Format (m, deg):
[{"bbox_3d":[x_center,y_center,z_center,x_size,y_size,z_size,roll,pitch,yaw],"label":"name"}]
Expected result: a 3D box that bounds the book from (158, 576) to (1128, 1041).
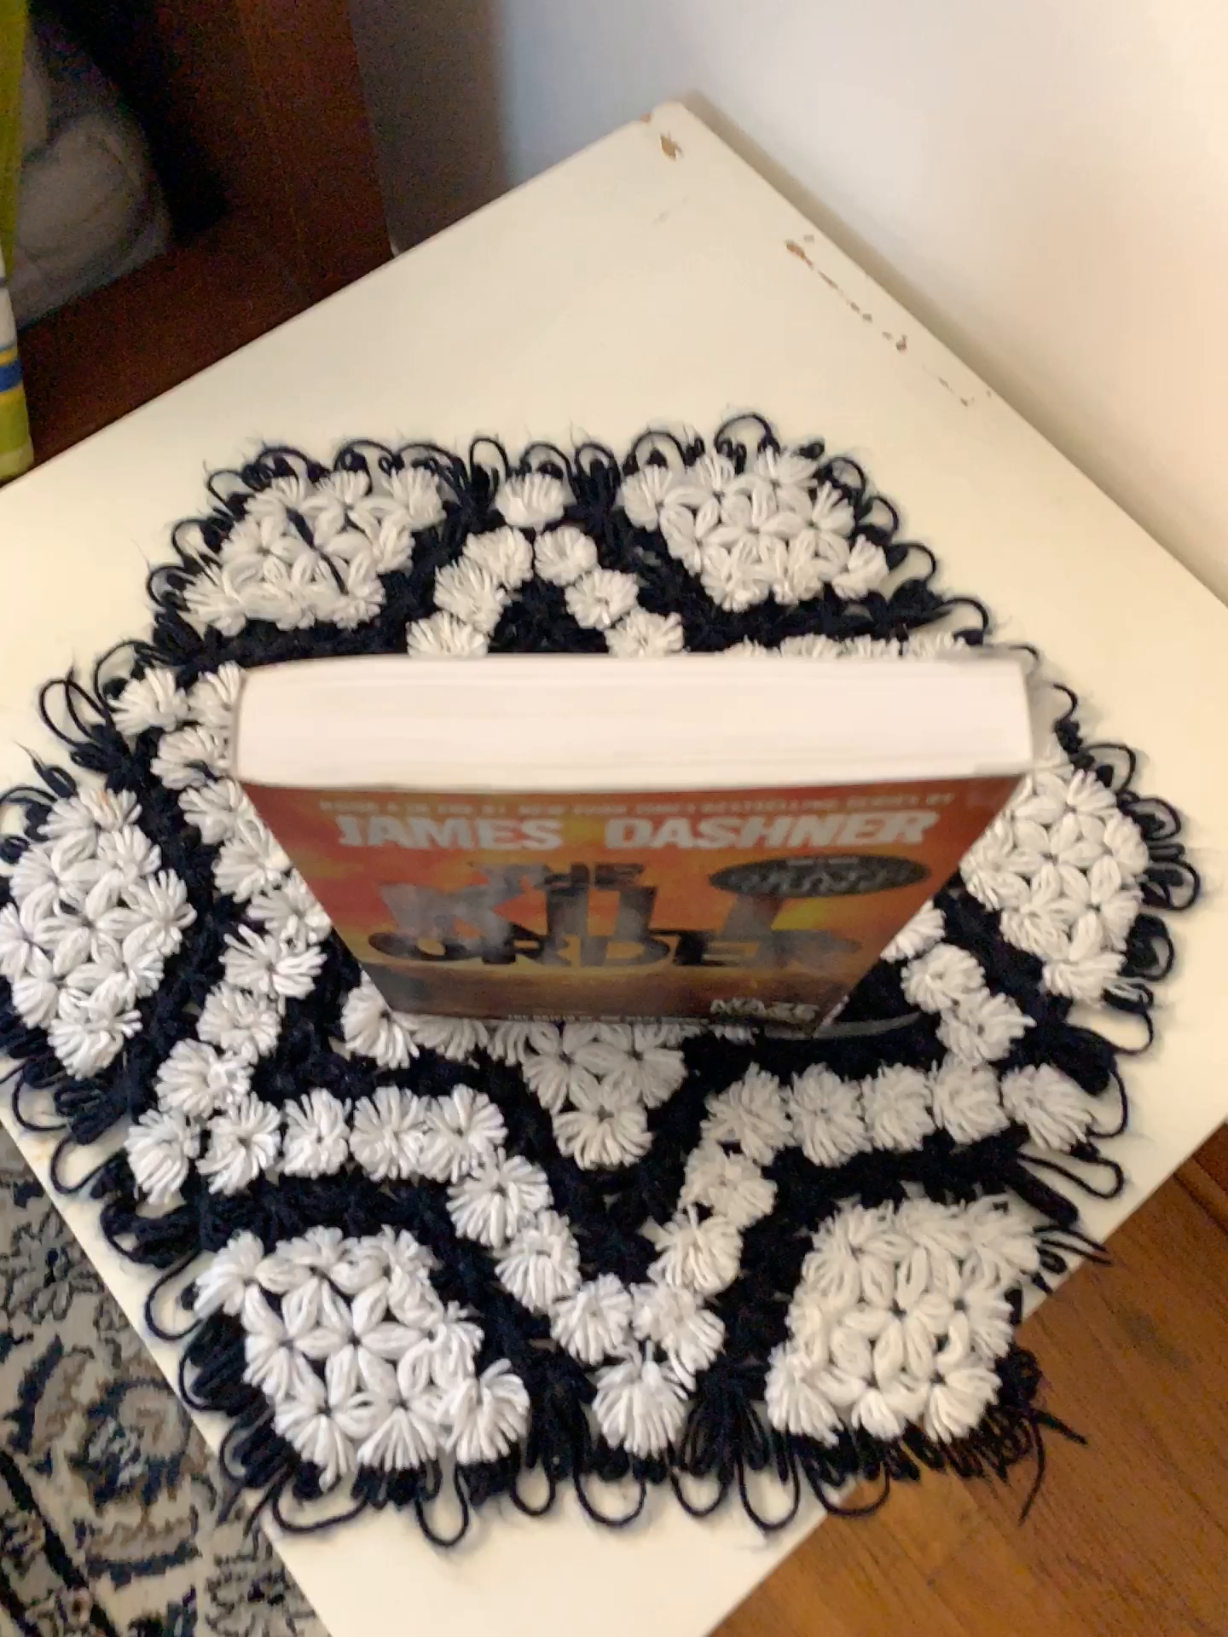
[{"bbox_3d":[0.002,0.016,0.314,0.160,0.219,0.030,1,68,-2],"label":"book"}]
